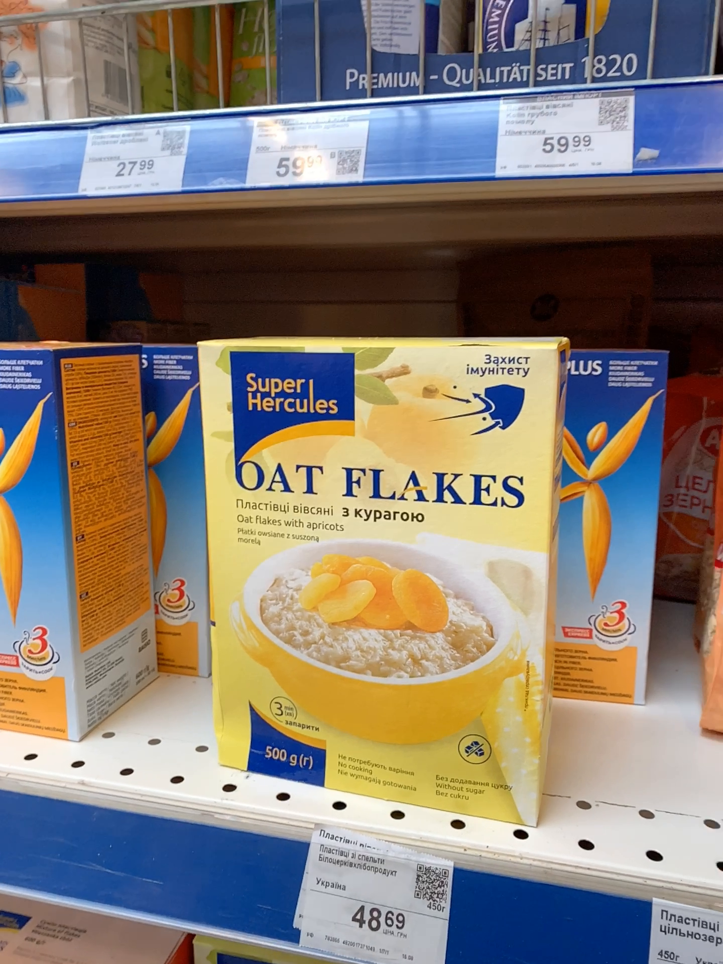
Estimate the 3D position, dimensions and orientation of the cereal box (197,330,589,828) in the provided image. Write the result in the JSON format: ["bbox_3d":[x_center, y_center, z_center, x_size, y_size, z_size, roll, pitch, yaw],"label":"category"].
[{"bbox_3d":[0.014,0.031,0.325,0.150,0.189,0.060,4,11,17],"label":"cereal box"}]
